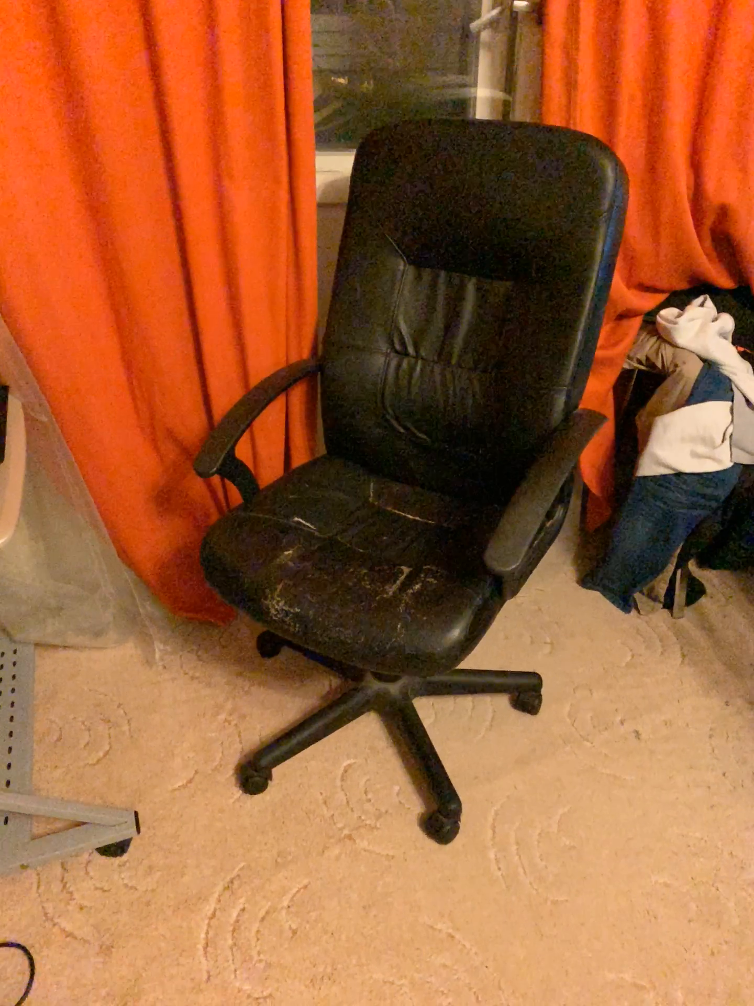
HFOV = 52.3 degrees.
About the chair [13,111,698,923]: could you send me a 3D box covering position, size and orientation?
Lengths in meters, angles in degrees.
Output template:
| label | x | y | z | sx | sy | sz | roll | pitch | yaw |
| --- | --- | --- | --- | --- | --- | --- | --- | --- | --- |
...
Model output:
| label | x | y | z | sx | sy | sz | roll | pitch | yaw |
| --- | --- | --- | --- | --- | --- | --- | --- | --- | --- |
| chair | 0.023 | -0.040 | 1.413 | 0.711 | 1.123 | 0.744 | 17 | 36 | 25 |
